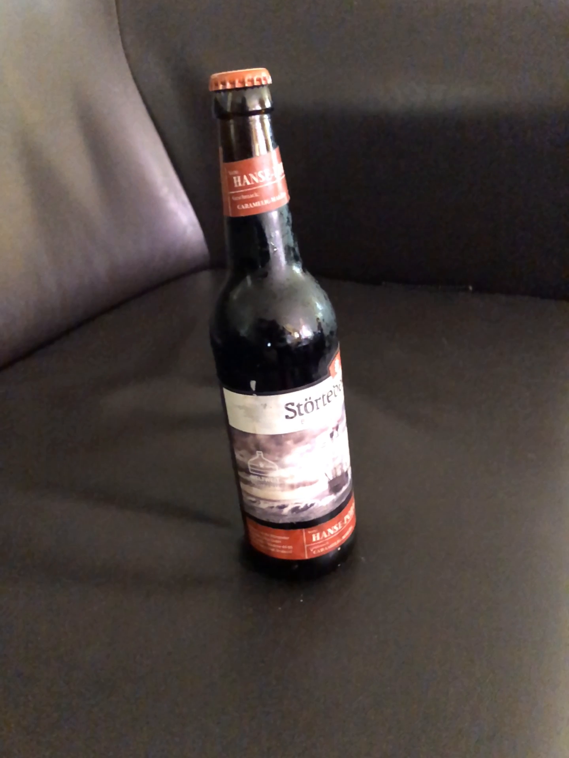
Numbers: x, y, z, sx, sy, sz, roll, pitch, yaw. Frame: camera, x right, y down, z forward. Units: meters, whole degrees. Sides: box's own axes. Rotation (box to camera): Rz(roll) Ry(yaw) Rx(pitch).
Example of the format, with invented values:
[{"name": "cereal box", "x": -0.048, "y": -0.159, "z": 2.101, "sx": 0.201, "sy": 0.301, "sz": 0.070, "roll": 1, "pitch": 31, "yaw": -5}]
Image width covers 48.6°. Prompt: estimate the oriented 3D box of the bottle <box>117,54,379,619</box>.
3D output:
[{"name": "bottle", "x": -0.007, "y": -0.015, "z": 0.341, "sx": 0.080, "sy": 0.278, "sz": 0.080, "roll": -4, "pitch": 27, "yaw": 2}]
